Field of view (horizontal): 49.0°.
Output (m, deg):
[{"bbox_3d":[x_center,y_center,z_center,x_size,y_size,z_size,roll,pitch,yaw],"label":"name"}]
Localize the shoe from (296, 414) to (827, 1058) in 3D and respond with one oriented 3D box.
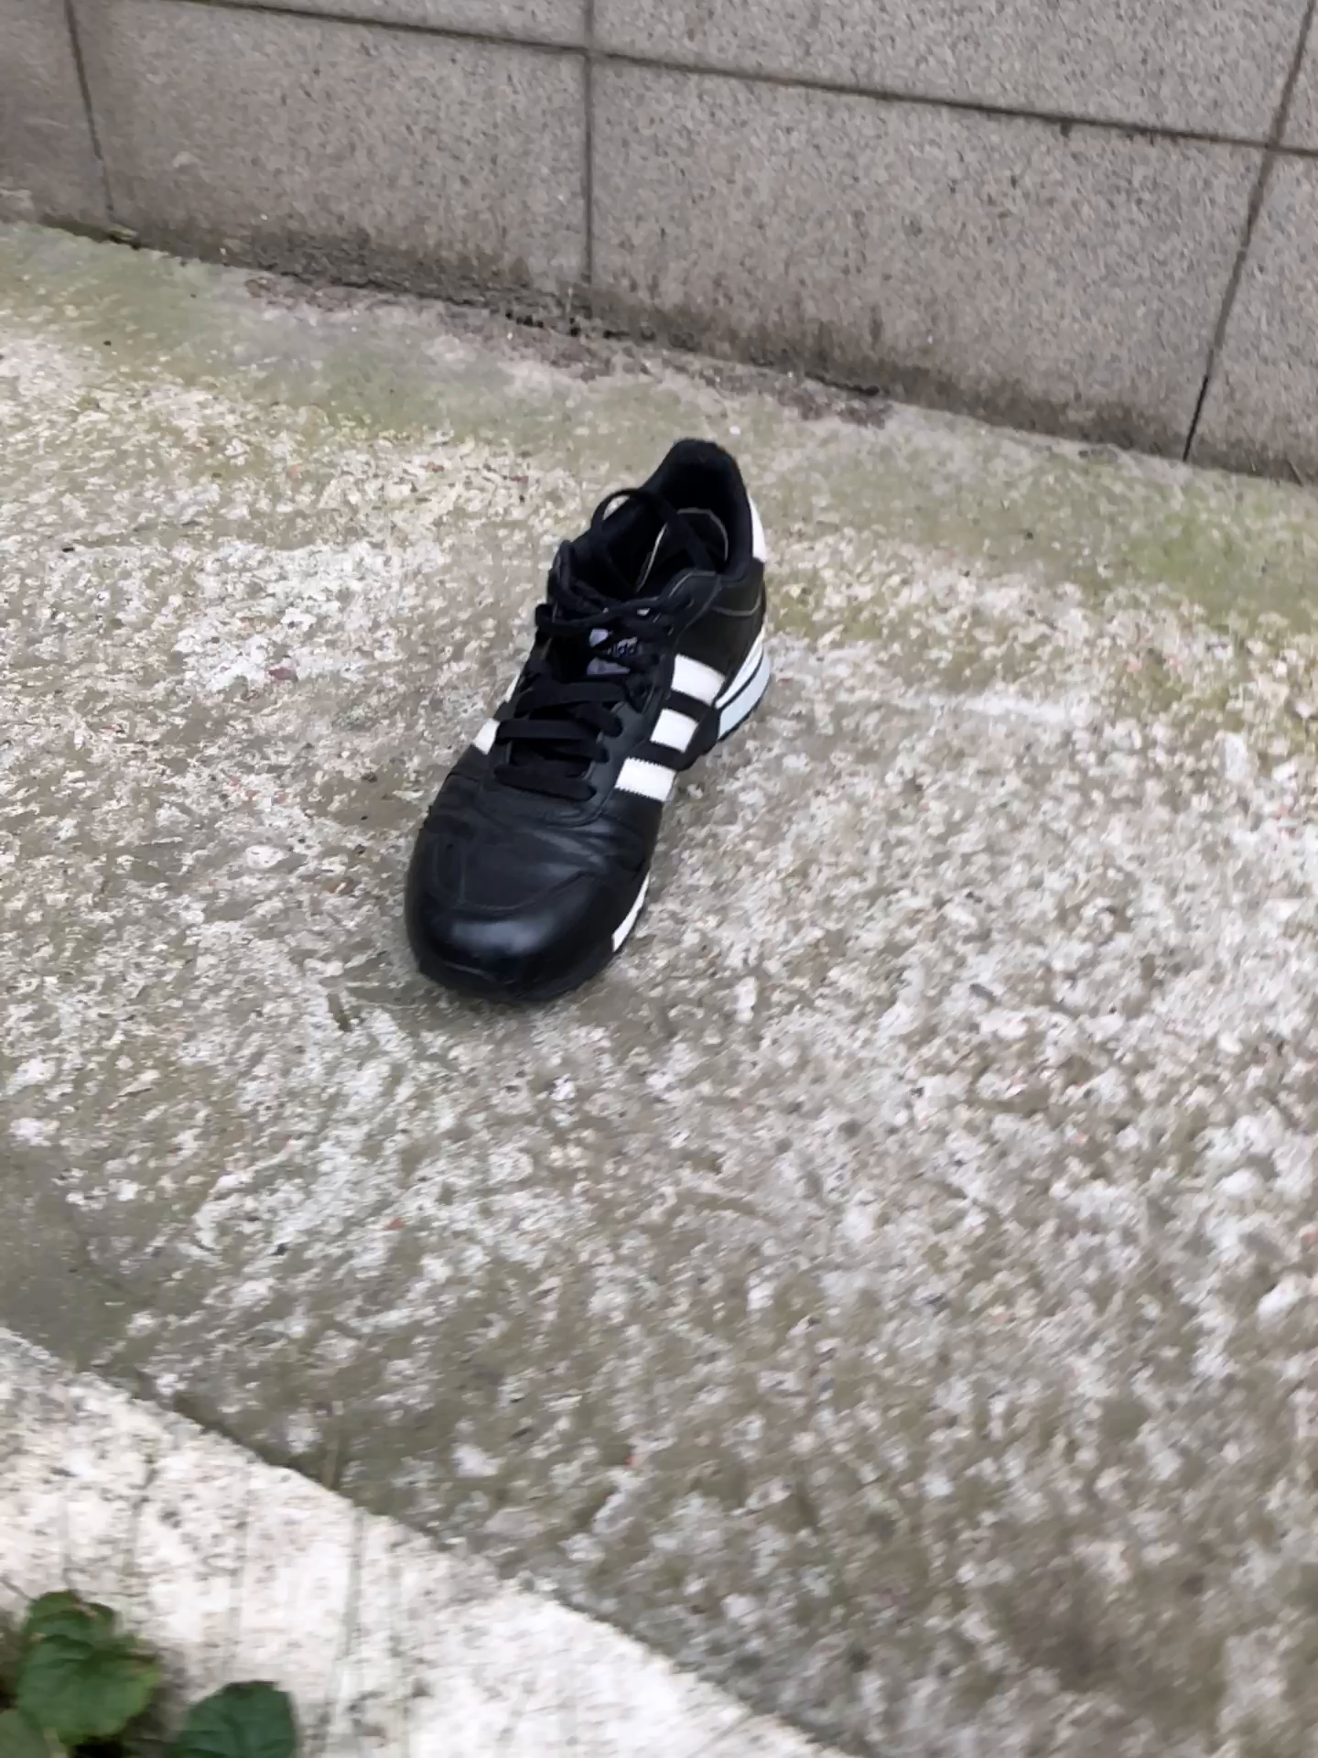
[{"bbox_3d":[-0.025,-0.077,0.614,0.100,0.119,0.282,16,43,16],"label":"shoe"}]
